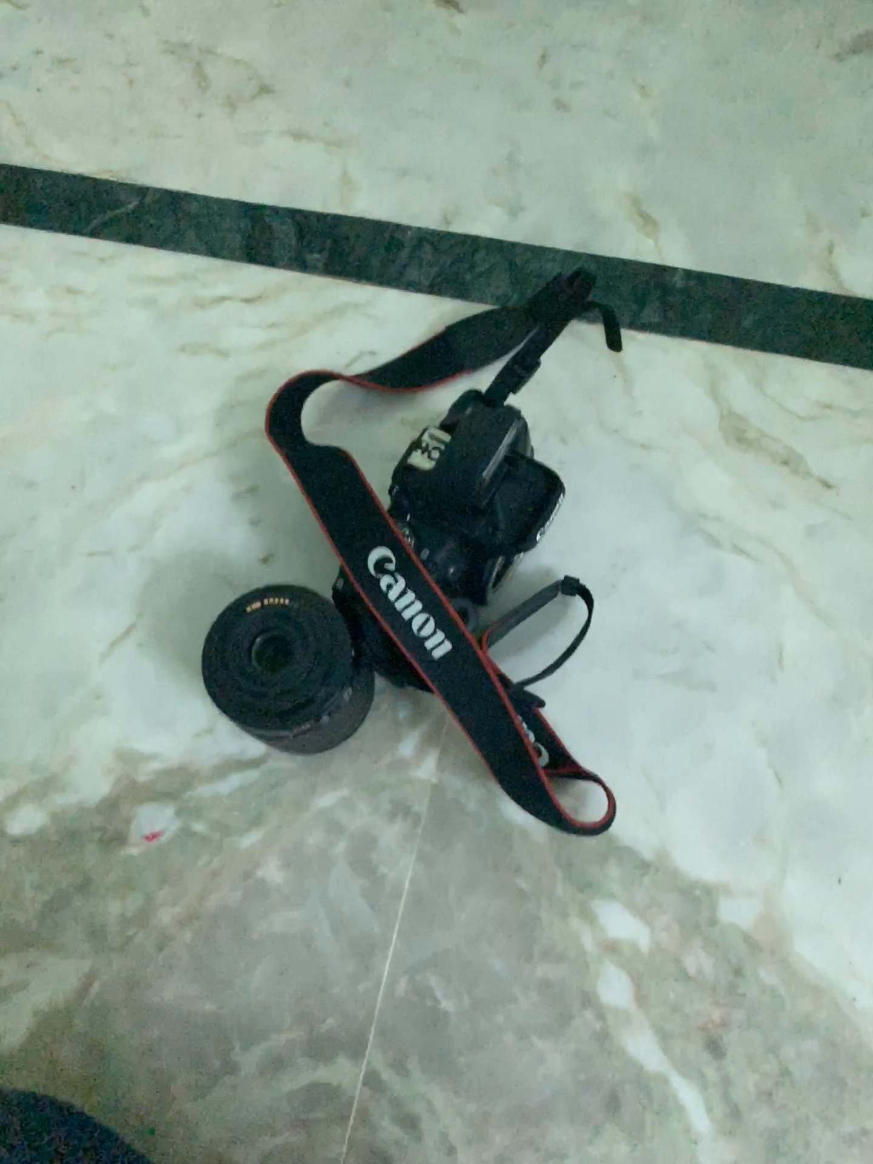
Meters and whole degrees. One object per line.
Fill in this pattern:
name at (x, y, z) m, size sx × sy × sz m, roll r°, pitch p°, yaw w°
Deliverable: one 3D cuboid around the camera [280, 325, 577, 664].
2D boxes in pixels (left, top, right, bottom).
camera at (0.000, -0.038, 0.418) m, size 0.082 × 0.078 × 0.112 m, roll 27°, pitch 74°, yaw 13°
